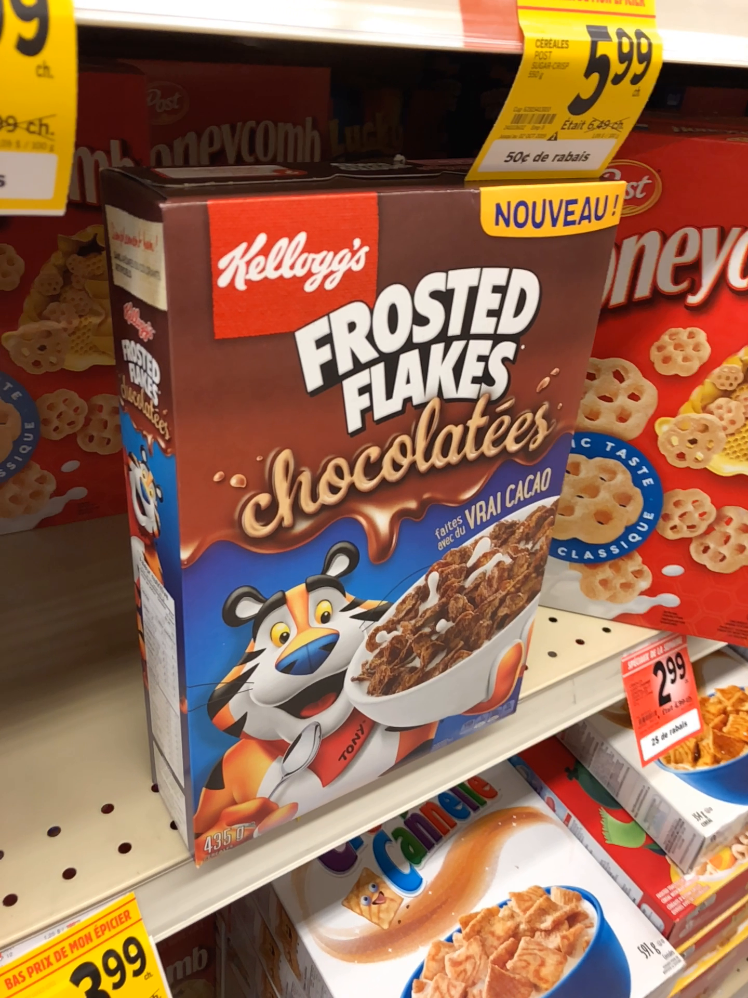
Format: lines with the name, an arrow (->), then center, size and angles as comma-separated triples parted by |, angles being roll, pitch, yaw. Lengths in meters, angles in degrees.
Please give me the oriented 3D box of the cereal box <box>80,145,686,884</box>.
cereal box -> 0.004, 0.002, 0.358 | 0.211, 0.278, 0.070 | -15, 34, -30
